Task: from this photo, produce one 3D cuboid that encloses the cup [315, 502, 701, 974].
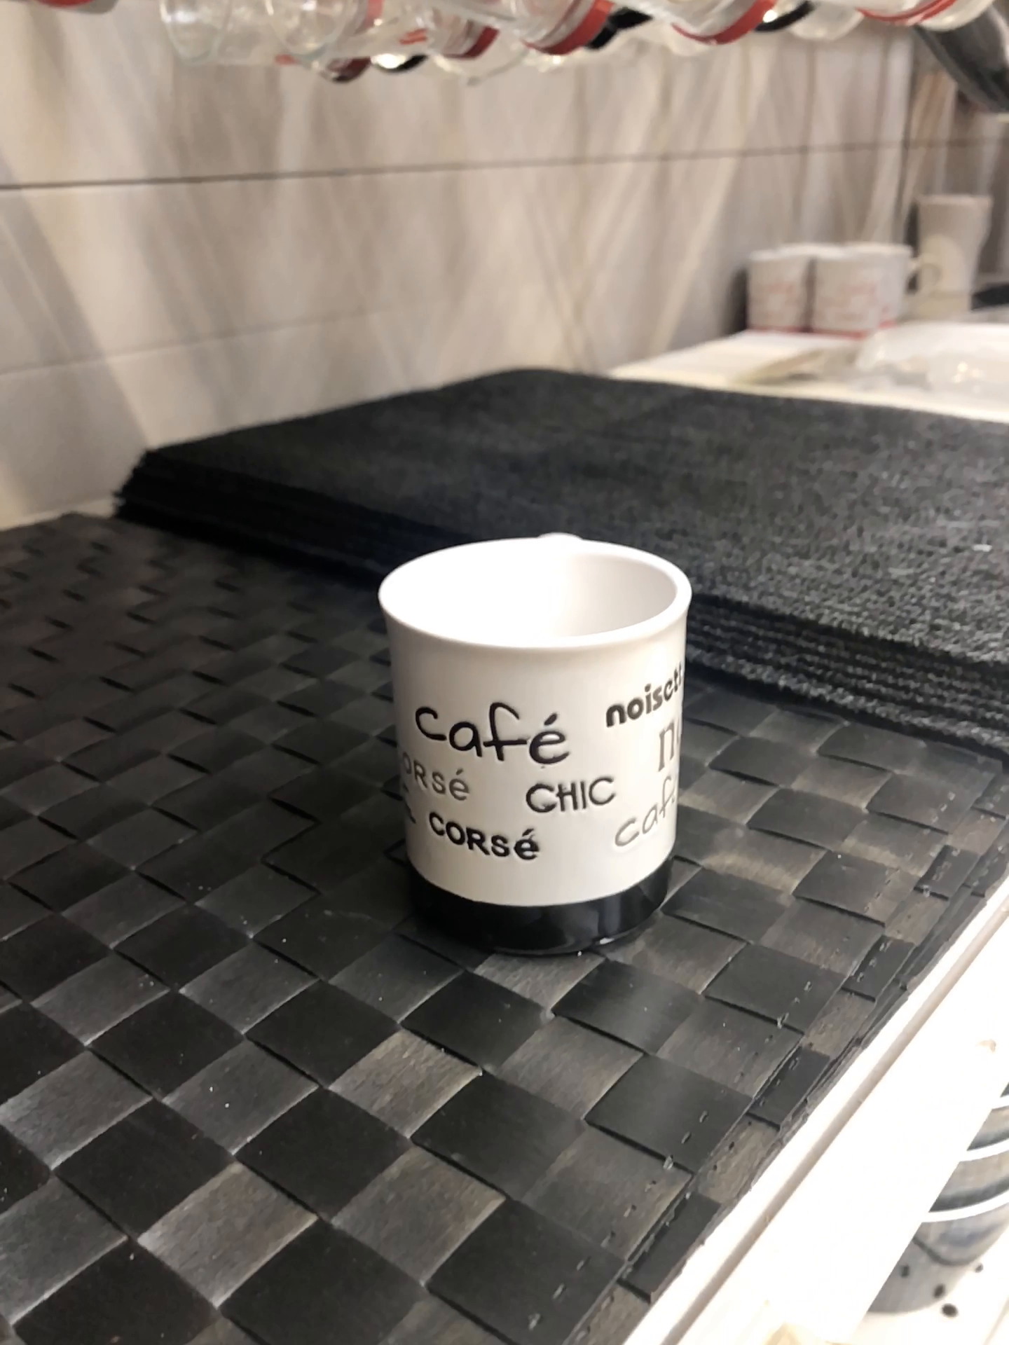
[{"bbox_3d":[0.007,0.008,0.250,0.067,0.066,0.093,2,25,7],"label":"cup"}]
